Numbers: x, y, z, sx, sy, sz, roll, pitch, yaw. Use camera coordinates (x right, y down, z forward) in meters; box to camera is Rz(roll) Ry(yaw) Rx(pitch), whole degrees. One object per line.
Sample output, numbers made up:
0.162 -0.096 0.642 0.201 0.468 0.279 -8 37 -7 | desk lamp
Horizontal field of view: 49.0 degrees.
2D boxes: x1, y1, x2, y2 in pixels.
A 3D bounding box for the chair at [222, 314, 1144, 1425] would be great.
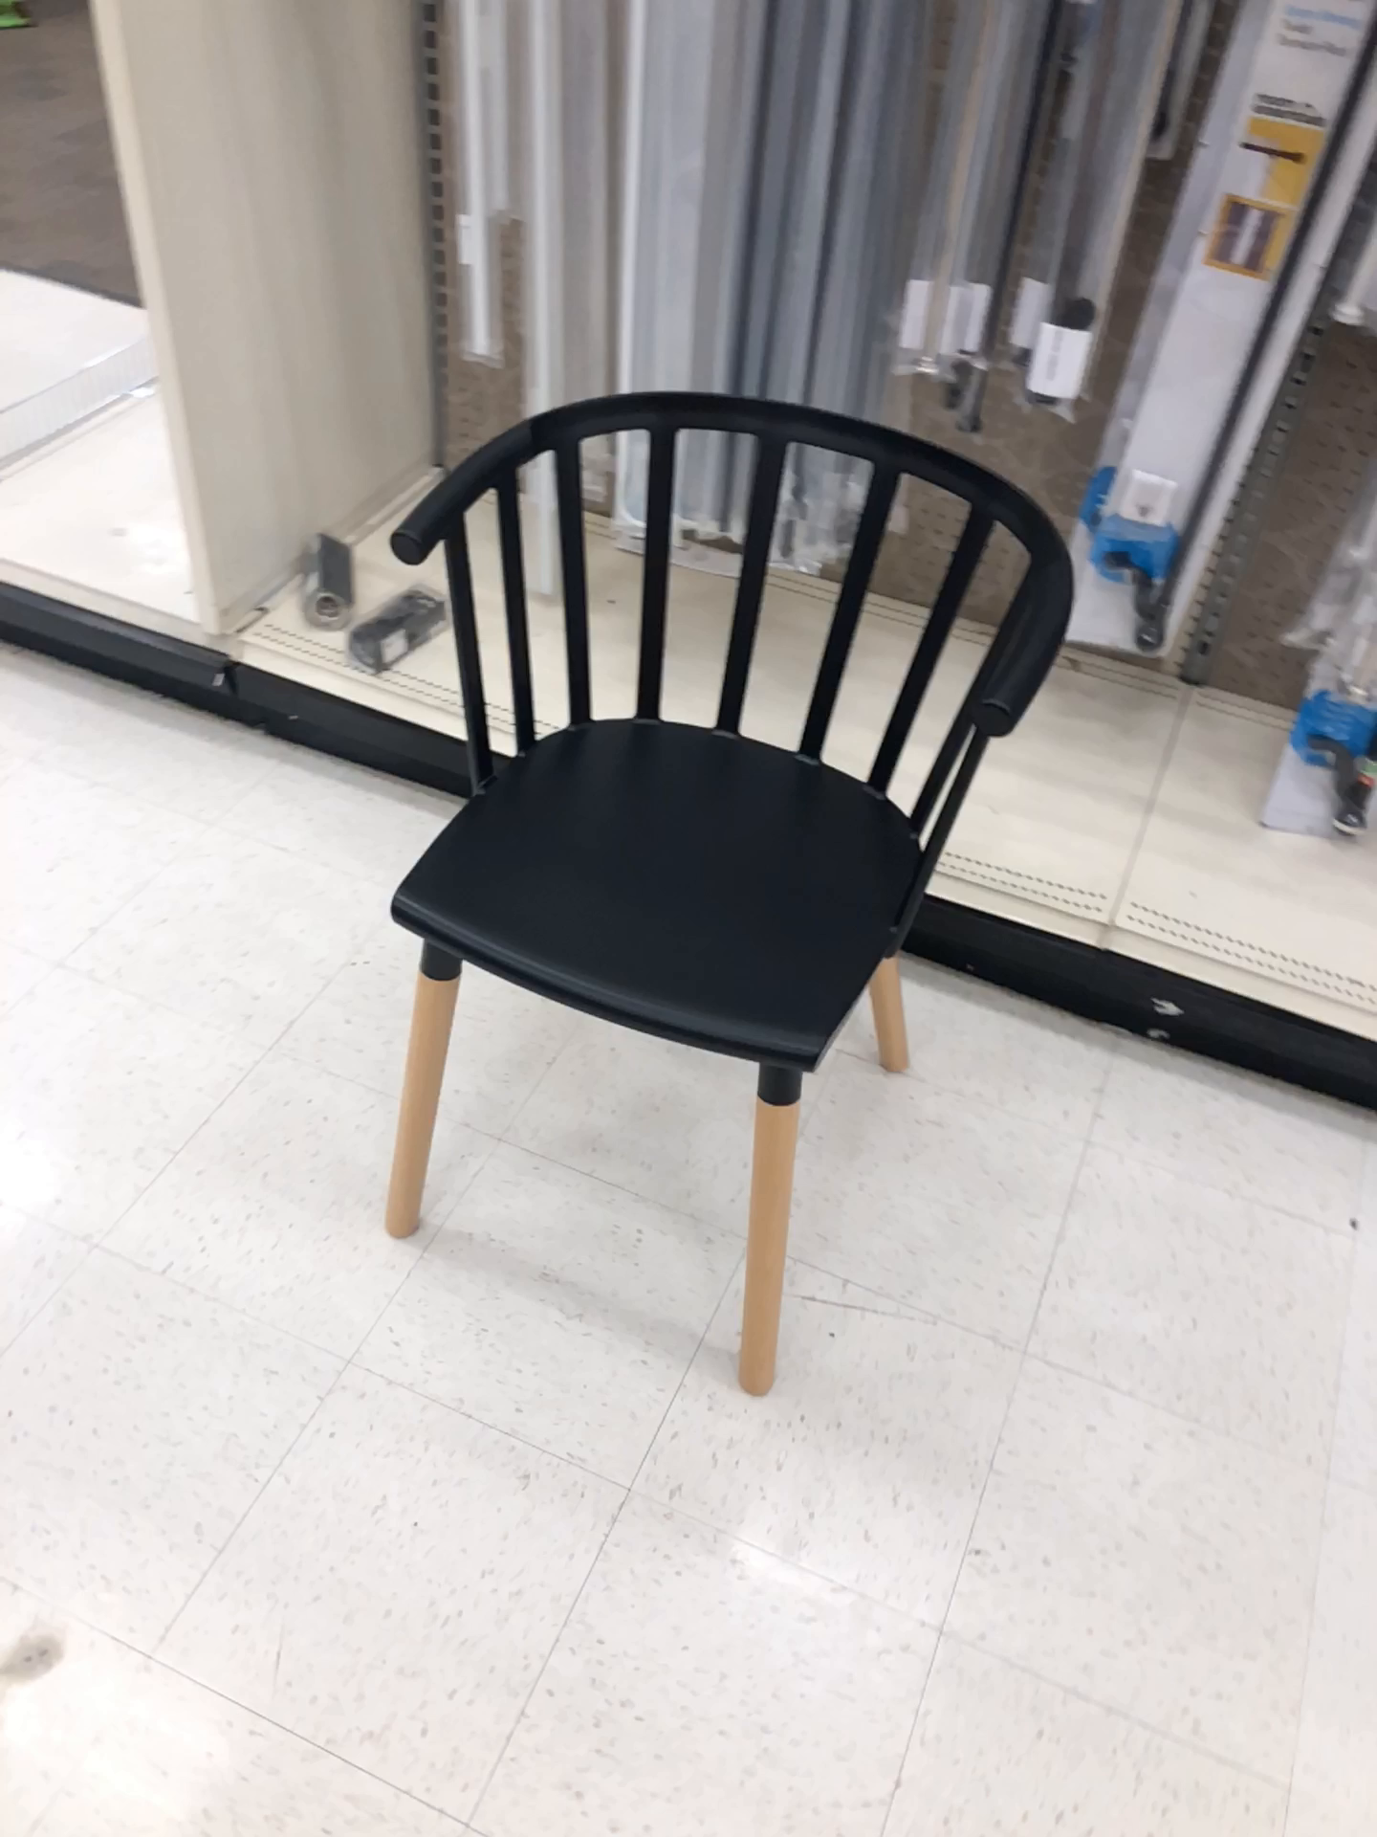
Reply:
0.010 -0.054 1.429 0.534 0.731 0.570 20 44 15 | chair
